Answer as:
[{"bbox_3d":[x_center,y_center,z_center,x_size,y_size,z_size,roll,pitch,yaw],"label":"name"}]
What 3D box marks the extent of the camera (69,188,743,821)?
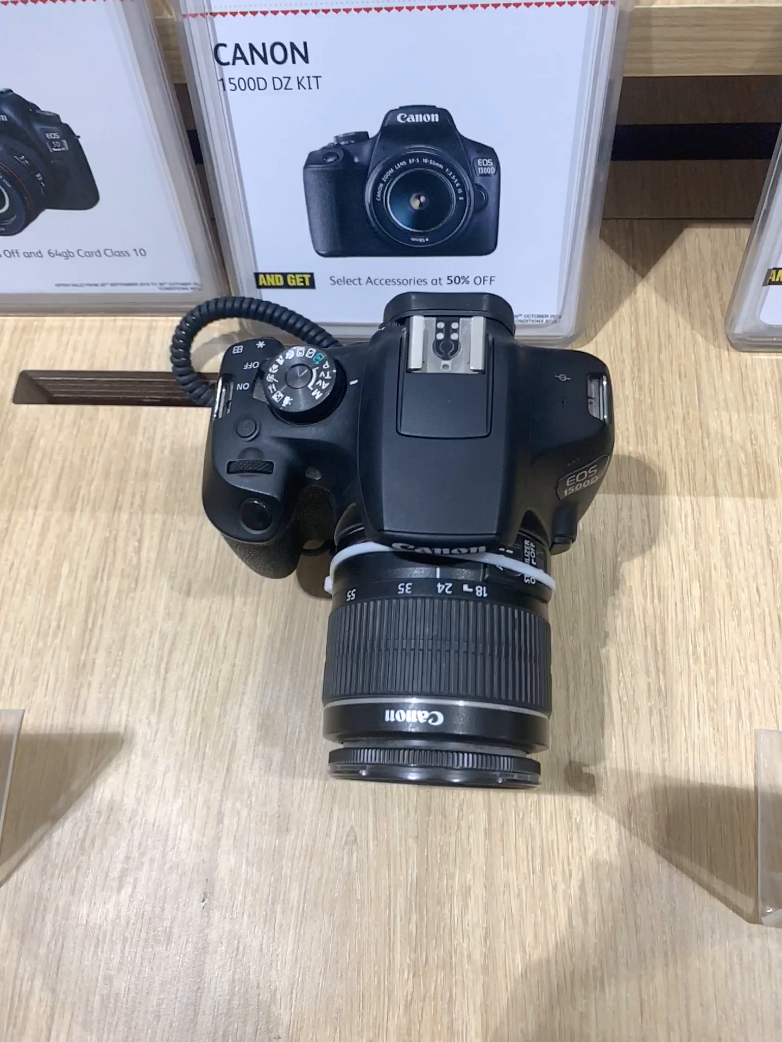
[{"bbox_3d":[0.007,0.001,0.244,0.140,0.100,0.160,0,67,5],"label":"camera"}]
